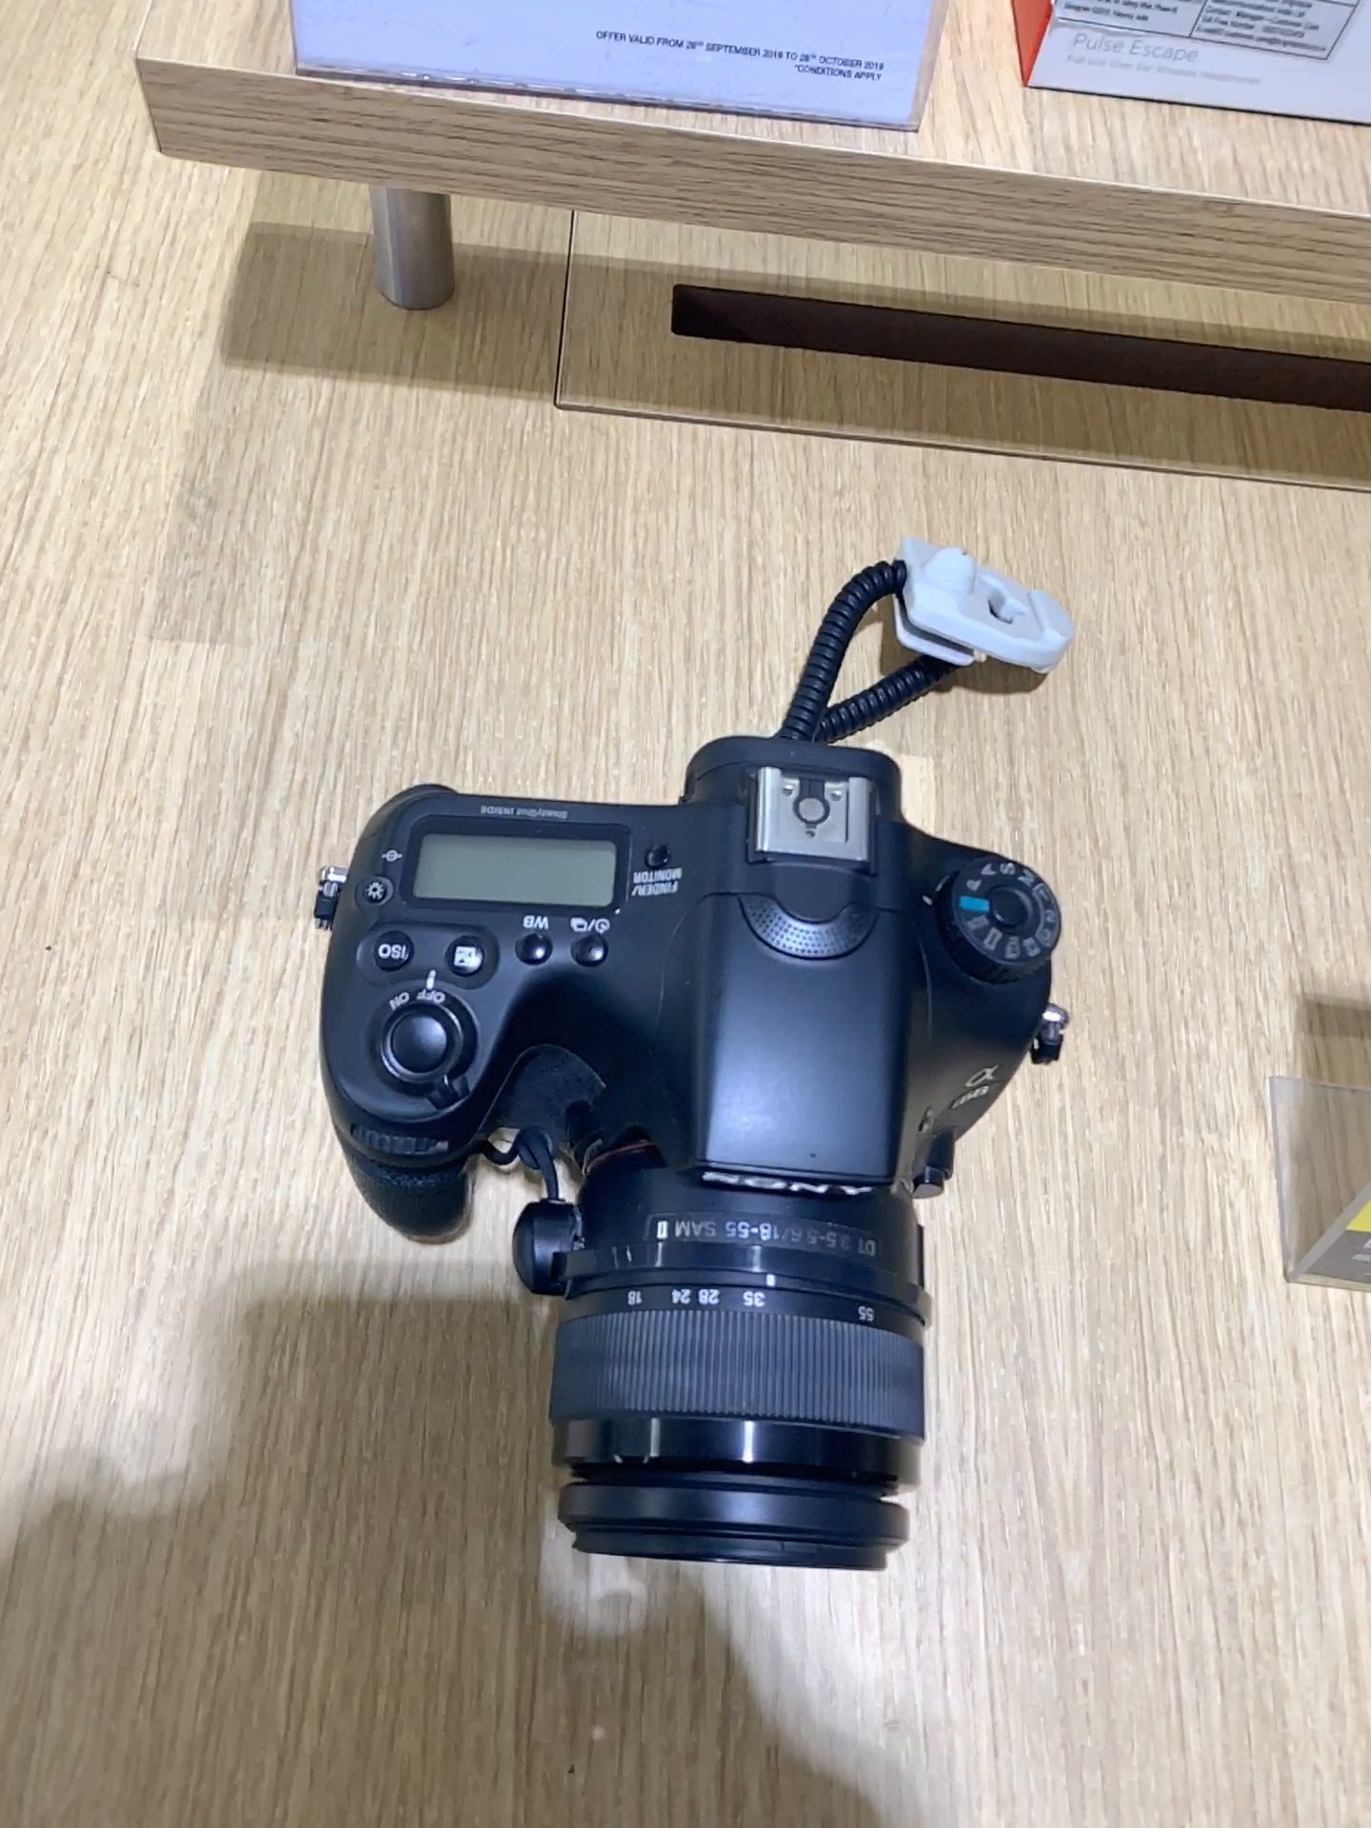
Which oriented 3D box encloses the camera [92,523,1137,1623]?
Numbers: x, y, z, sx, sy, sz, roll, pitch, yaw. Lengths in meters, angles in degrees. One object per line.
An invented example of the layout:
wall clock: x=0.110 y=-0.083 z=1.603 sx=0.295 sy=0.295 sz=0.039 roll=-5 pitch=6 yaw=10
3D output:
camera: x=-0.006 y=0.032 z=0.265 sx=0.140 sy=0.090 sz=0.170 roll=6 pitch=64 yaw=-3
